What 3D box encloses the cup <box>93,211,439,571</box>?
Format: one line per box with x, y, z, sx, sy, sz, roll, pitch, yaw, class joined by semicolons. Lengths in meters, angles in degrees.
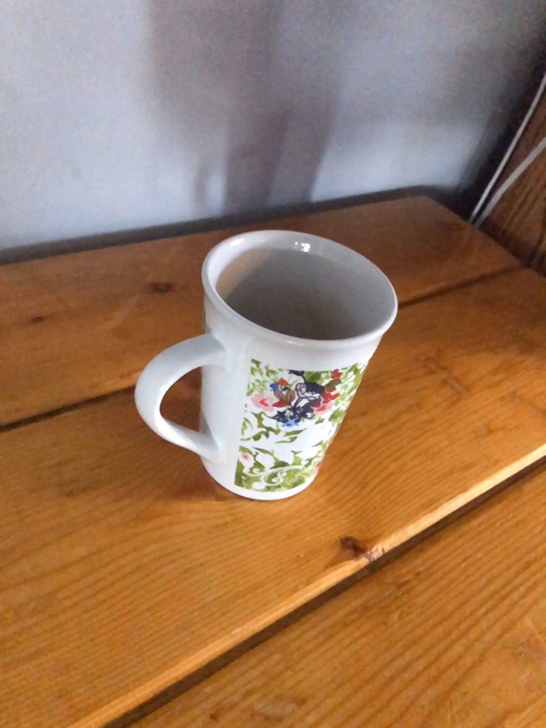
-0.010;0.008;0.313;0.130;0.120;0.090;-23;54;-36;cup
